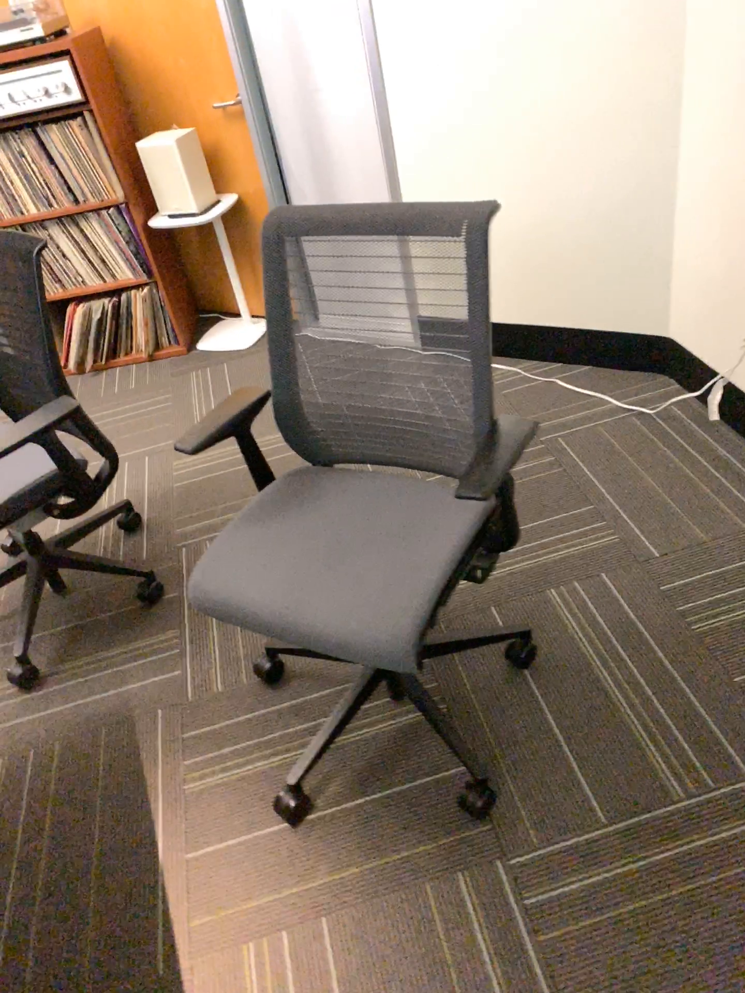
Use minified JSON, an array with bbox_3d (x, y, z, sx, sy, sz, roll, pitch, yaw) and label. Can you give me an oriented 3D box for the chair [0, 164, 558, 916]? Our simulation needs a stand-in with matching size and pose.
[{"bbox_3d":[-0.132,0.061,1.535,0.792,1.112,0.803,8,42,25],"label":"chair"}]
